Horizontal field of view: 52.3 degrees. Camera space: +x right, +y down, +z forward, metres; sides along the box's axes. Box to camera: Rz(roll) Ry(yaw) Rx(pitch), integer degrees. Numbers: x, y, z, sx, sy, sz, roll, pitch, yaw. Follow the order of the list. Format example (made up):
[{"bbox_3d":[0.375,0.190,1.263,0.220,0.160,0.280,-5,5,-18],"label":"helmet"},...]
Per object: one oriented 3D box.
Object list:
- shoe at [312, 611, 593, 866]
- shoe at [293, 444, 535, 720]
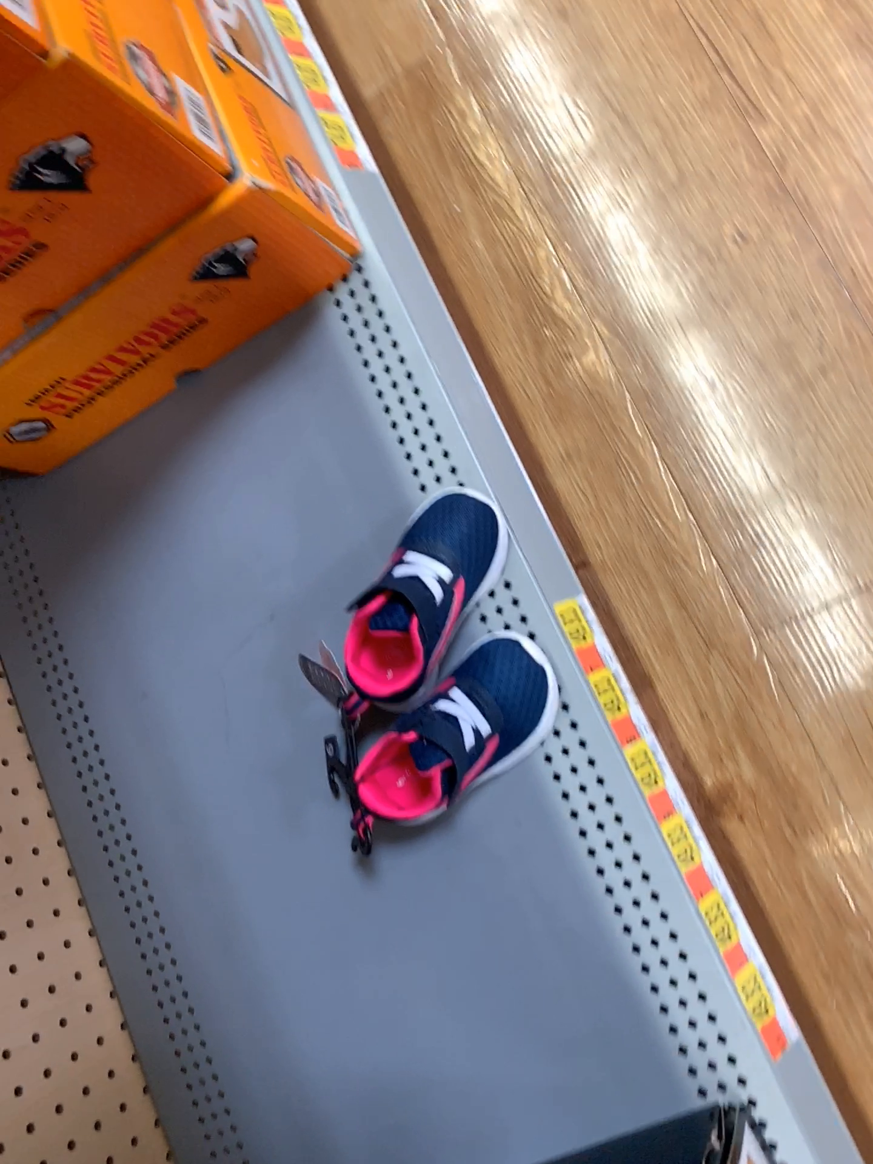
[{"bbox_3d":[0.010,0.092,0.540,0.145,0.064,0.073,-42,74,15],"label":"shoe"},{"bbox_3d":[-0.013,0.001,0.552,0.073,0.064,0.145,31,100,20],"label":"shoe"}]
